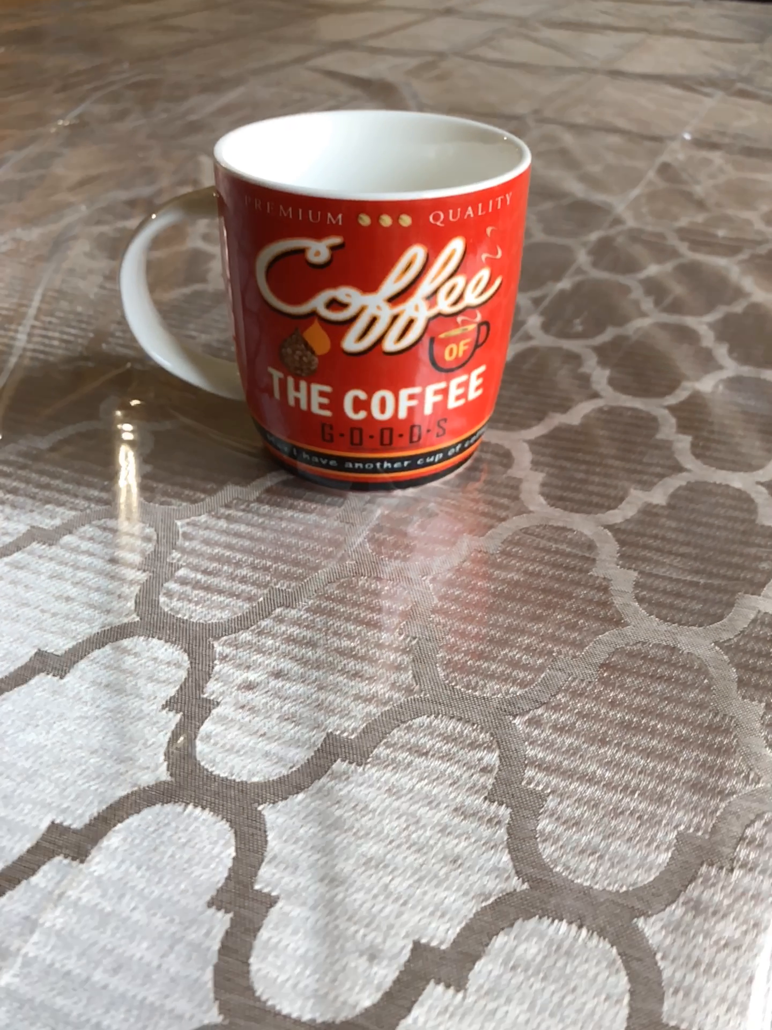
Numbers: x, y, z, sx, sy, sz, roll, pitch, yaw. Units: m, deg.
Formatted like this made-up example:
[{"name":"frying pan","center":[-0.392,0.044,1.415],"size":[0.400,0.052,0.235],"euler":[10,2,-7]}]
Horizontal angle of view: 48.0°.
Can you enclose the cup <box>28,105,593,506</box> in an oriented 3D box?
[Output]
[{"name":"cup","center":[-0.021,-0.072,0.272],"size":[0.130,0.080,0.121],"euler":[1,36,-1]}]
